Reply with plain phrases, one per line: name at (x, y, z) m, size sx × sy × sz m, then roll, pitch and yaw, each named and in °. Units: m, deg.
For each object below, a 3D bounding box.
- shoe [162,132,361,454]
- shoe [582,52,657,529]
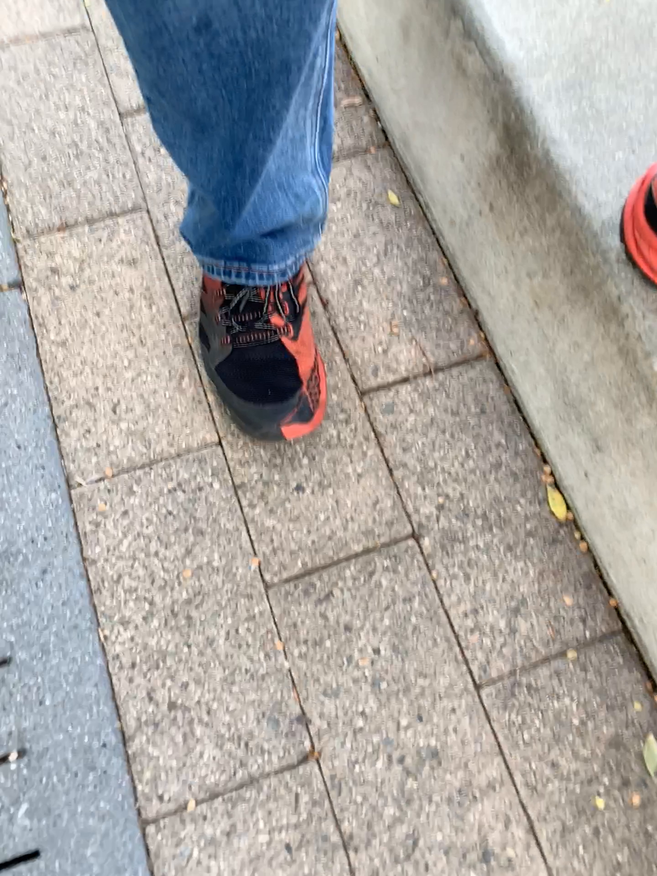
shoe at (-0.072, -0.151, 0.668) m, size 0.136 × 0.080 × 0.306 m, roll -10°, pitch 69°, yaw -6°
shoe at (0.336, -0.096, 0.413) m, size 0.310 × 0.080 × 0.122 m, roll 37°, pitch 71°, yaw 12°
